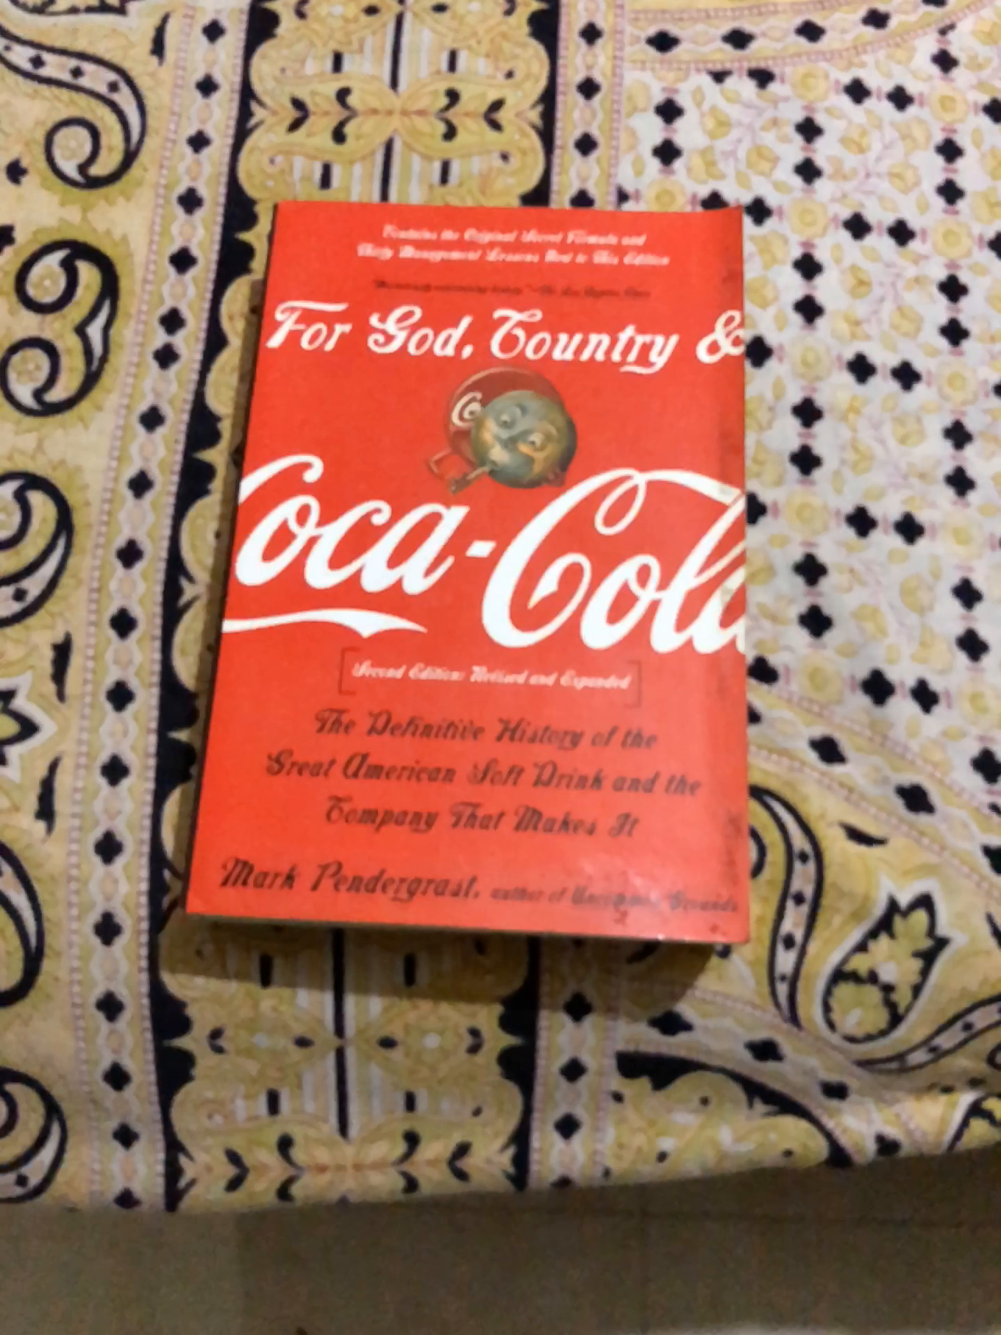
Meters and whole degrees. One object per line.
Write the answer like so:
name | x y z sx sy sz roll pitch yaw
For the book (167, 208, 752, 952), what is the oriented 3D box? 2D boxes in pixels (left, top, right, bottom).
book | -0.006 -0.031 0.362 0.160 0.050 0.230 2 74 2
